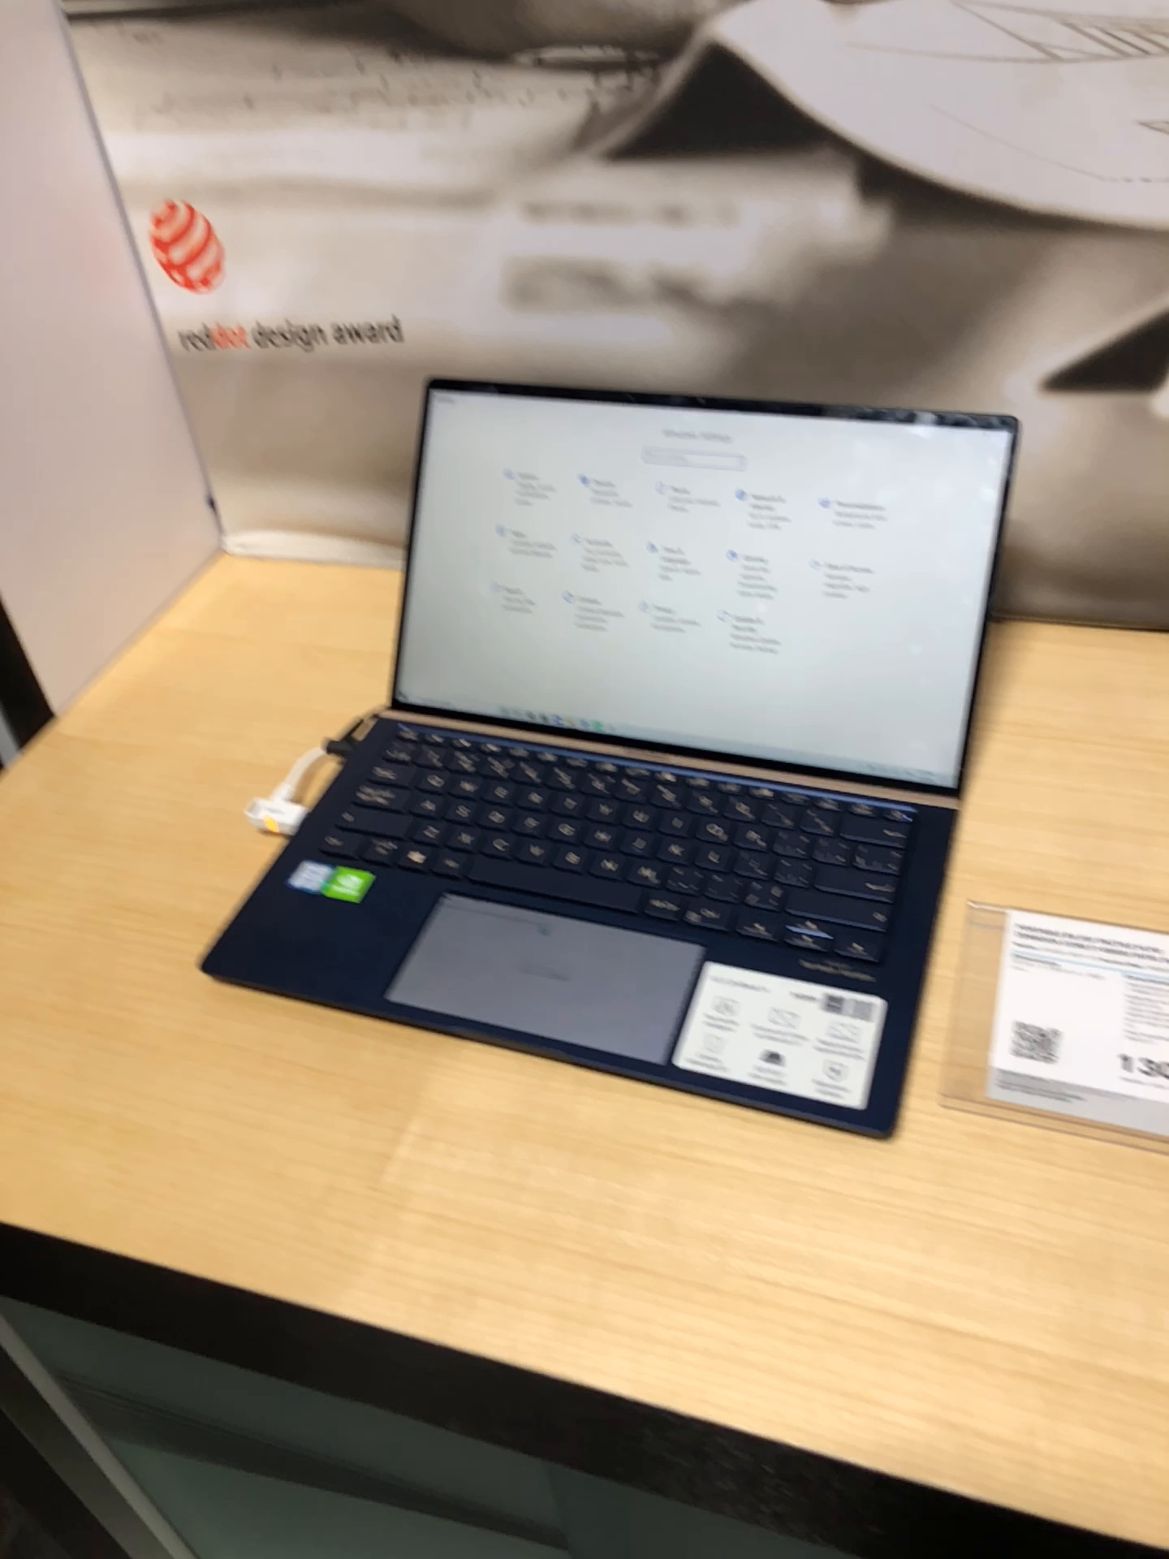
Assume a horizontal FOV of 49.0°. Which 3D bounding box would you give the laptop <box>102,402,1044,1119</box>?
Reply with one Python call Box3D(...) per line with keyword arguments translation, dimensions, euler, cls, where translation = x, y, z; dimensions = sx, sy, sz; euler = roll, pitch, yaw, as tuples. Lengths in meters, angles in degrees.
Box3D(translation=(0.026, -0.042, 0.637), dimensions=(0.332, 0.159, 0.322), euler=(9, 41, 19), cls="laptop")
